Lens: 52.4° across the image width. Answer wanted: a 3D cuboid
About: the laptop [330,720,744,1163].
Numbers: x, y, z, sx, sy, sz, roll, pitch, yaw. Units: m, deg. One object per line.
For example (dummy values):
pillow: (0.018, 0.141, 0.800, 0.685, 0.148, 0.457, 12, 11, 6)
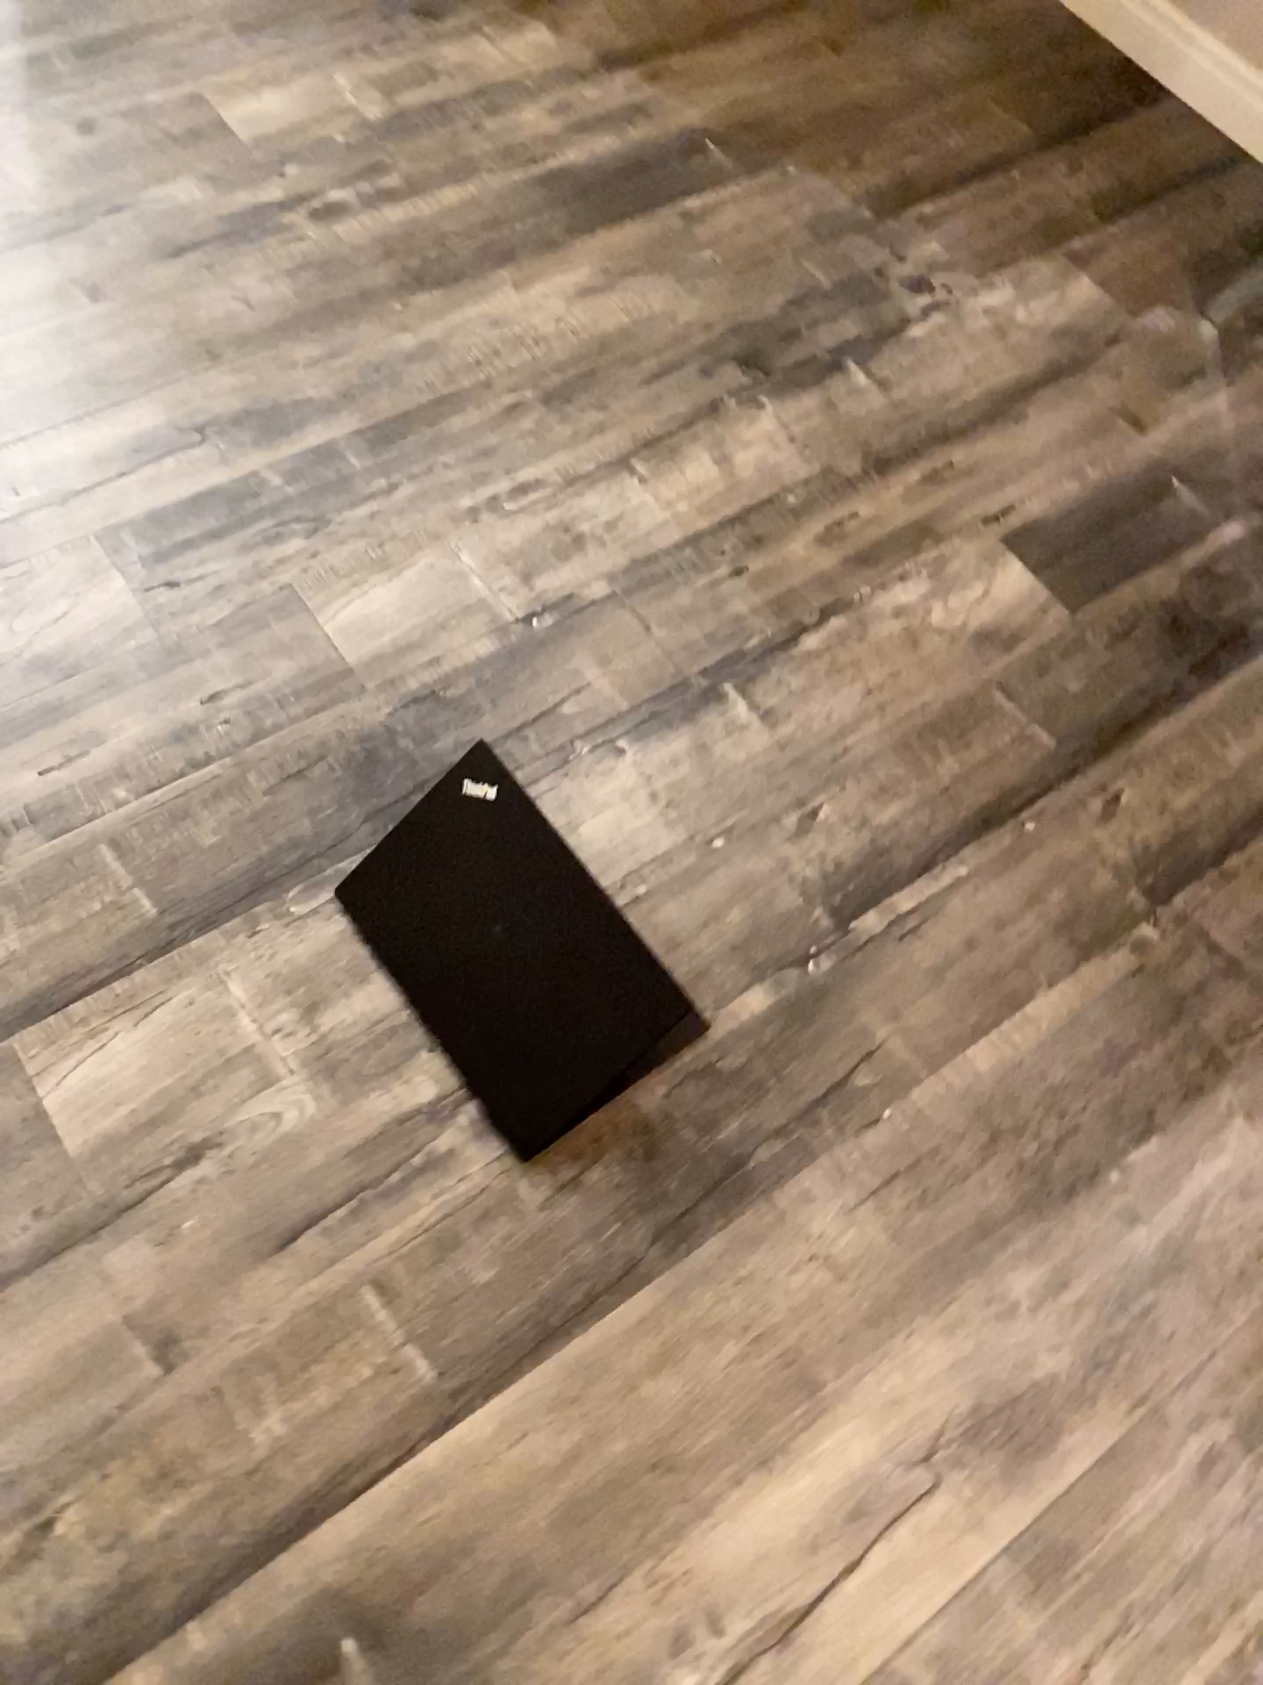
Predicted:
laptop: (-0.091, 0.084, 1.168, 0.219, 0.124, 0.315, -31, 70, -22)
